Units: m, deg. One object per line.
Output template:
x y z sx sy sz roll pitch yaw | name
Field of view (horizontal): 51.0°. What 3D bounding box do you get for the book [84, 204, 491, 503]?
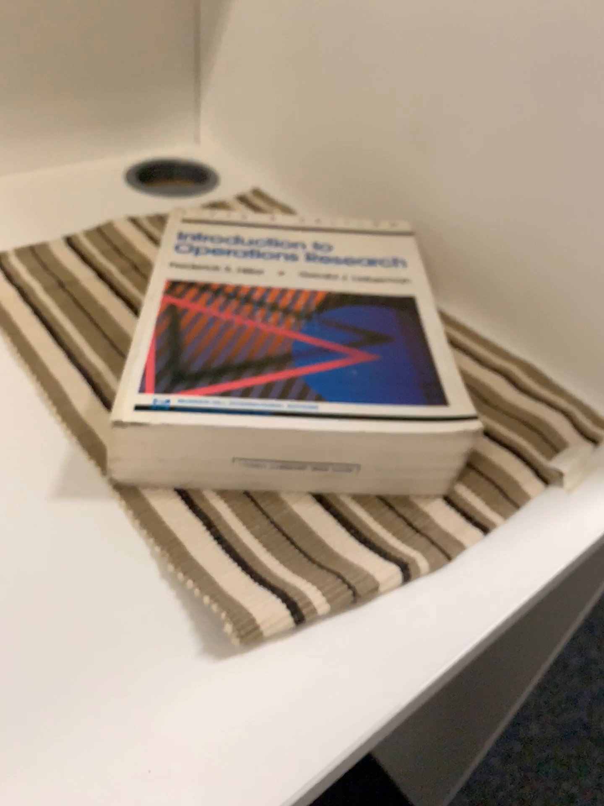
-0.010 -0.047 0.410 0.196 0.052 0.236 3 41 -5 | book
